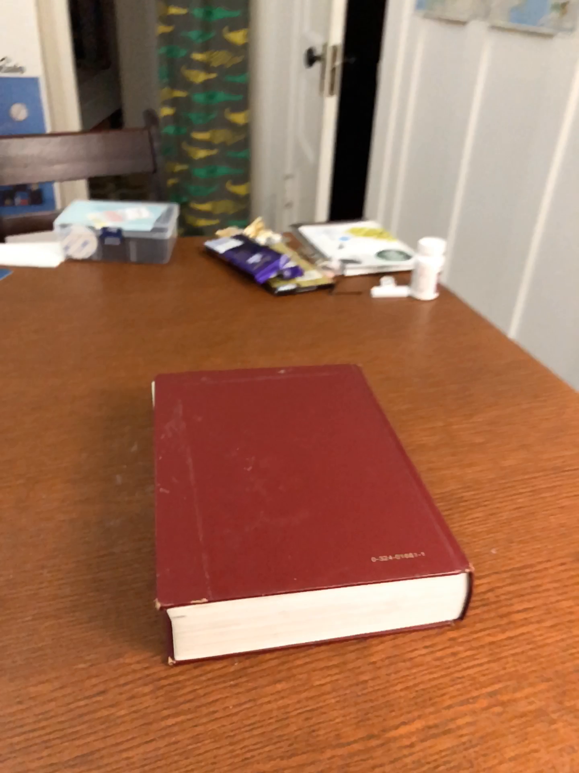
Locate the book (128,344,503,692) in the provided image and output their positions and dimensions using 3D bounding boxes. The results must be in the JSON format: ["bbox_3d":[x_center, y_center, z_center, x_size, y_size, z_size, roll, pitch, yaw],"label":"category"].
[{"bbox_3d":[-0.008,0.070,0.507,0.220,0.070,0.292,-3,32,-11],"label":"book"}]
